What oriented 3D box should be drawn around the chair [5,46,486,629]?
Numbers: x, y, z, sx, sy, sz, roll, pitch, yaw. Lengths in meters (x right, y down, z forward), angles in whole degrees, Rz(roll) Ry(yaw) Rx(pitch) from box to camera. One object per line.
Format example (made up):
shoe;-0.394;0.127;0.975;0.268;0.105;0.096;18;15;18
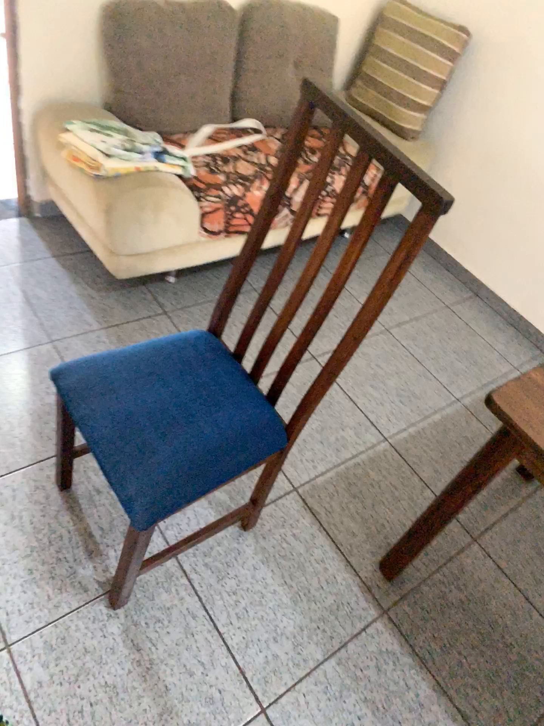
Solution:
chair;-0.172;0.039;1.174;0.522;1.124;0.471;-19;59;-33
